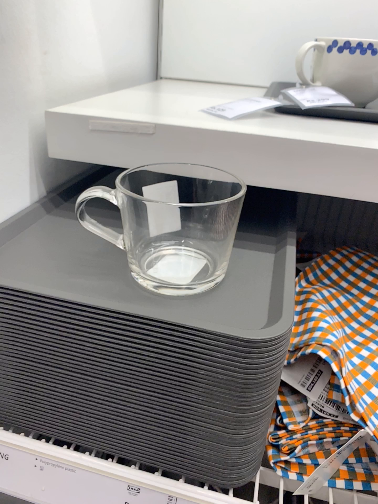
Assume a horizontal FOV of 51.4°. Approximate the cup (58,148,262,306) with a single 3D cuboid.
[{"bbox_3d":[-0.018,-0.025,0.312,0.130,0.080,0.100,5,27,2],"label":"cup"}]
